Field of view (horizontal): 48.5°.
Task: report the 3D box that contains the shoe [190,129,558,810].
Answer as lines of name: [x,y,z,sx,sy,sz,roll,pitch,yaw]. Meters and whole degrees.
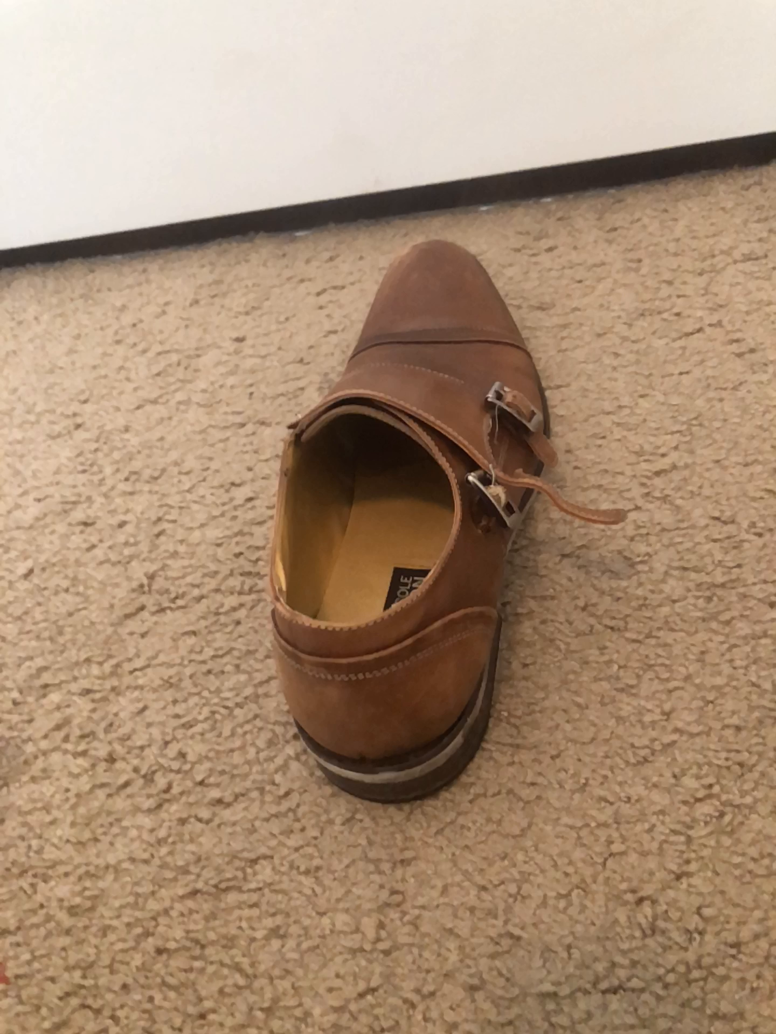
shoe: [0.017,-0.037,0.371,0.099,0.107,0.287,-3,50,14]
